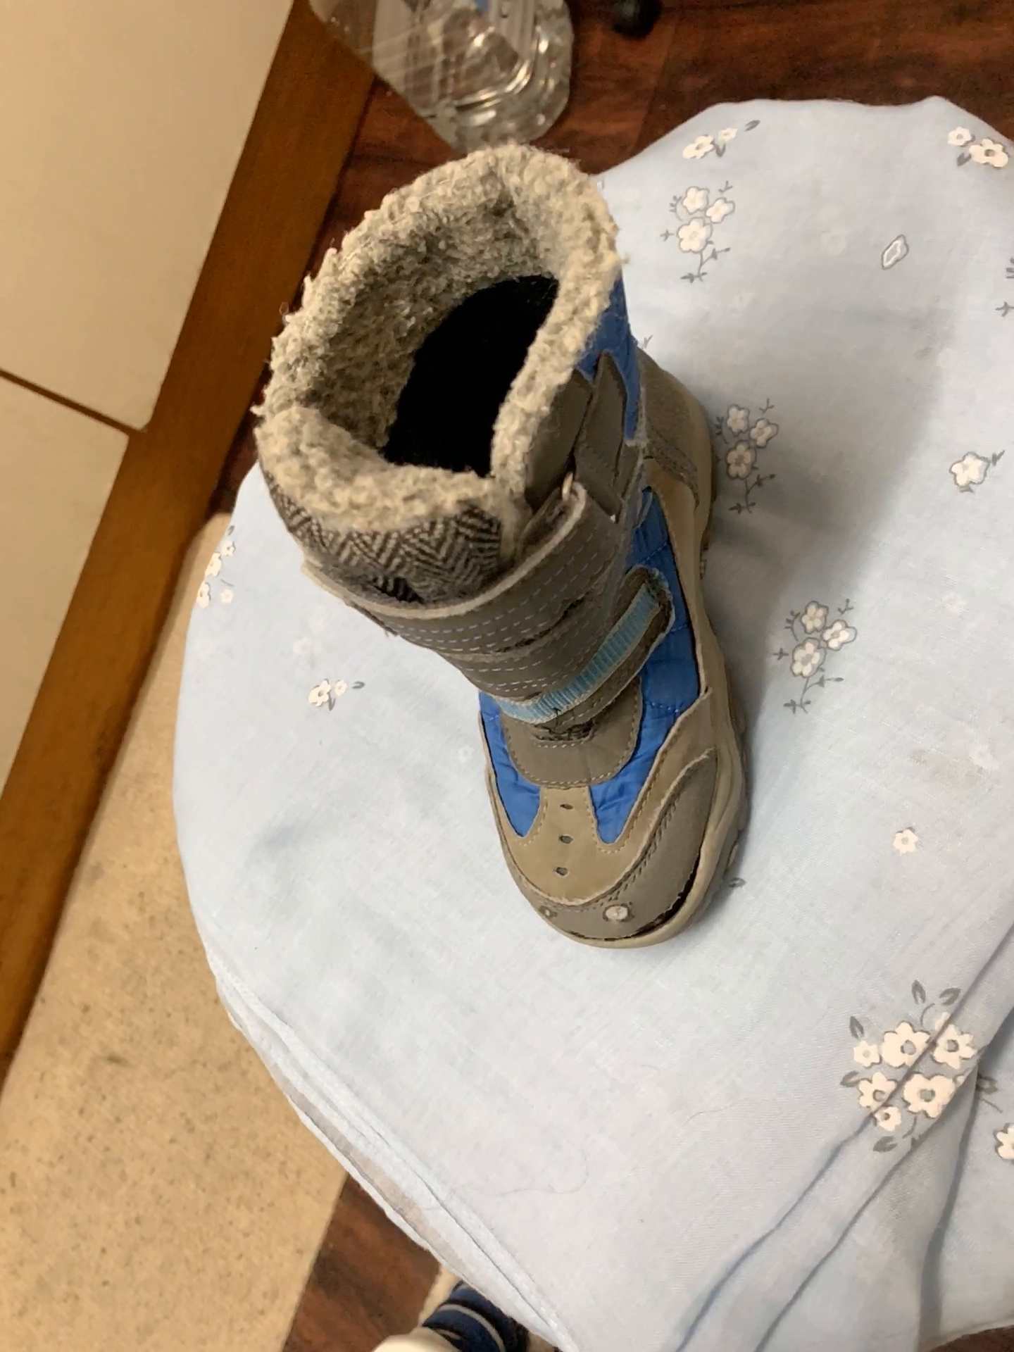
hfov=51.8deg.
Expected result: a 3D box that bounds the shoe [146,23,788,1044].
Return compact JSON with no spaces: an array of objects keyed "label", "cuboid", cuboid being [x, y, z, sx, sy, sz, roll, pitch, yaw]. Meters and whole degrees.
[{"label":"shoe","cuboid":[0.008,-0.020,0.287,0.090,0.159,0.200,-2,79,30]}]
